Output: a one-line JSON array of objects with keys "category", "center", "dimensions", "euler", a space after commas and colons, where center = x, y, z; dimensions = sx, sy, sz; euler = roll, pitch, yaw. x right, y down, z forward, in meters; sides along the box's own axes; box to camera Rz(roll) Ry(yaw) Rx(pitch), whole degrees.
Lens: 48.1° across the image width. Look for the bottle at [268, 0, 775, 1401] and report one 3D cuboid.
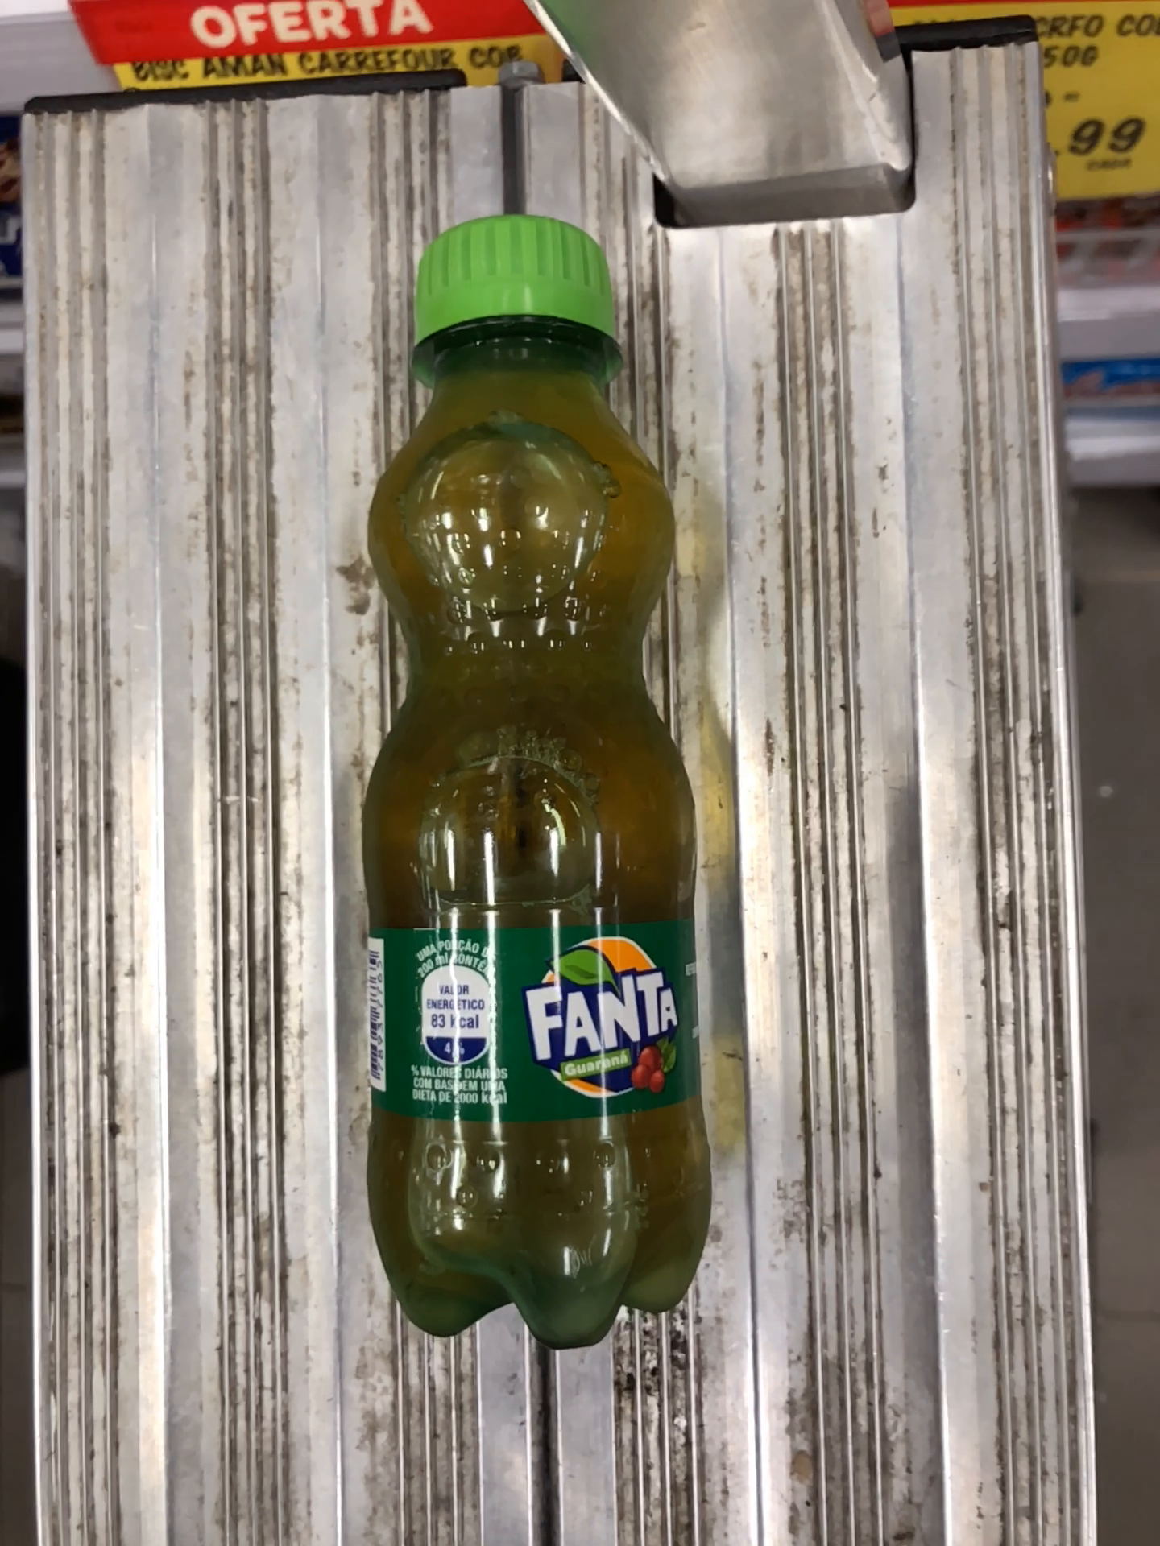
[{"category": "bottle", "center": [-0.011, -0.010, 0.192], "dimensions": [0.050, 0.050, 0.170], "euler": [-7, 83, 50]}]
